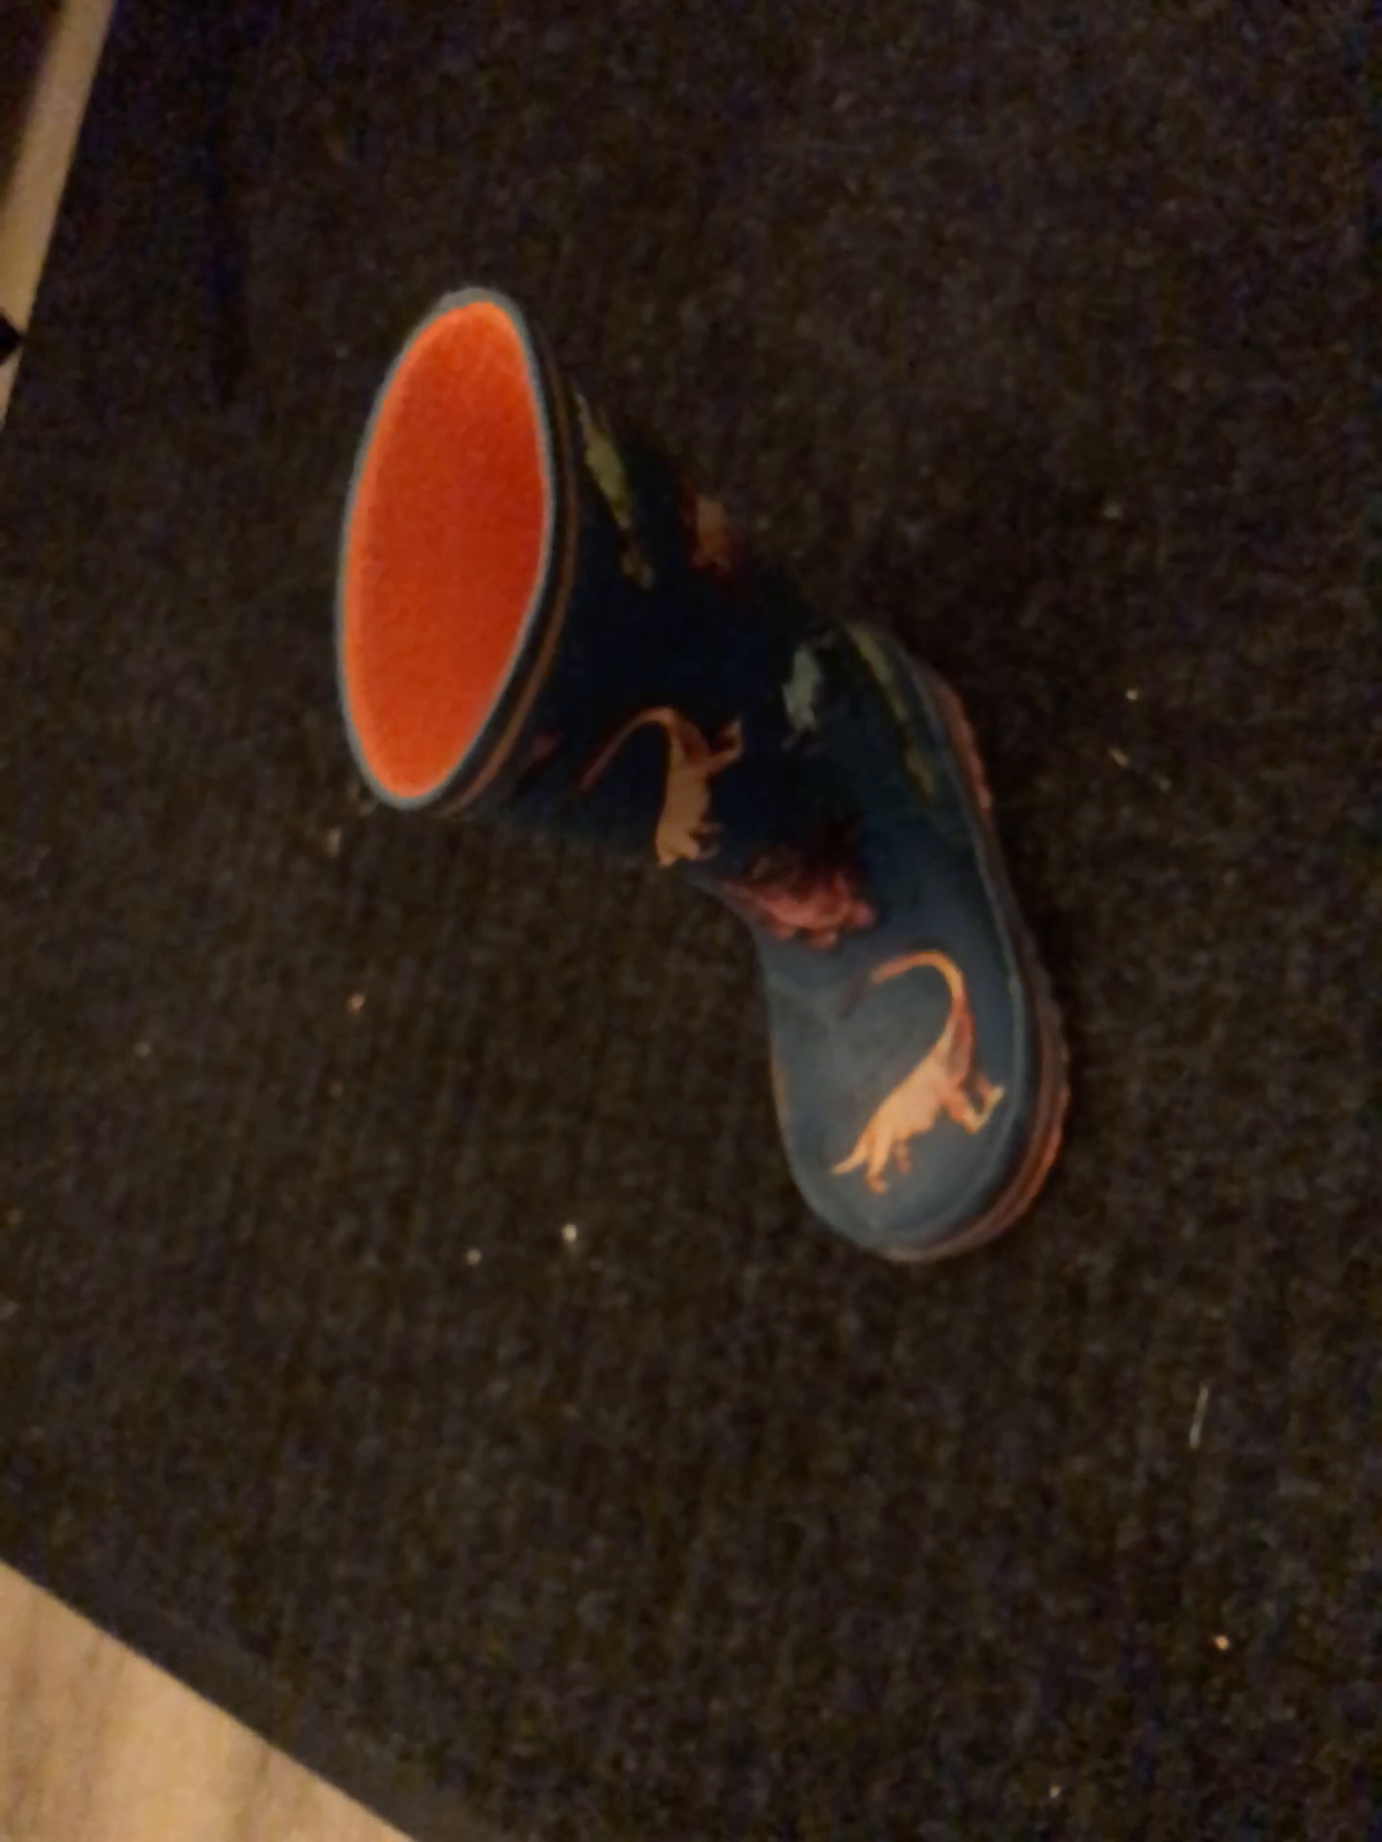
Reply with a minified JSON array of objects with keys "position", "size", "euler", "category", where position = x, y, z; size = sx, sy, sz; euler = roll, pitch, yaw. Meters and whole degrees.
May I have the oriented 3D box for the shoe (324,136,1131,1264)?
[{"position":[0.015,-0.027,0.354],"size":[0.080,0.179,0.190],"euler":[-15,69,33],"category":"shoe"}]
